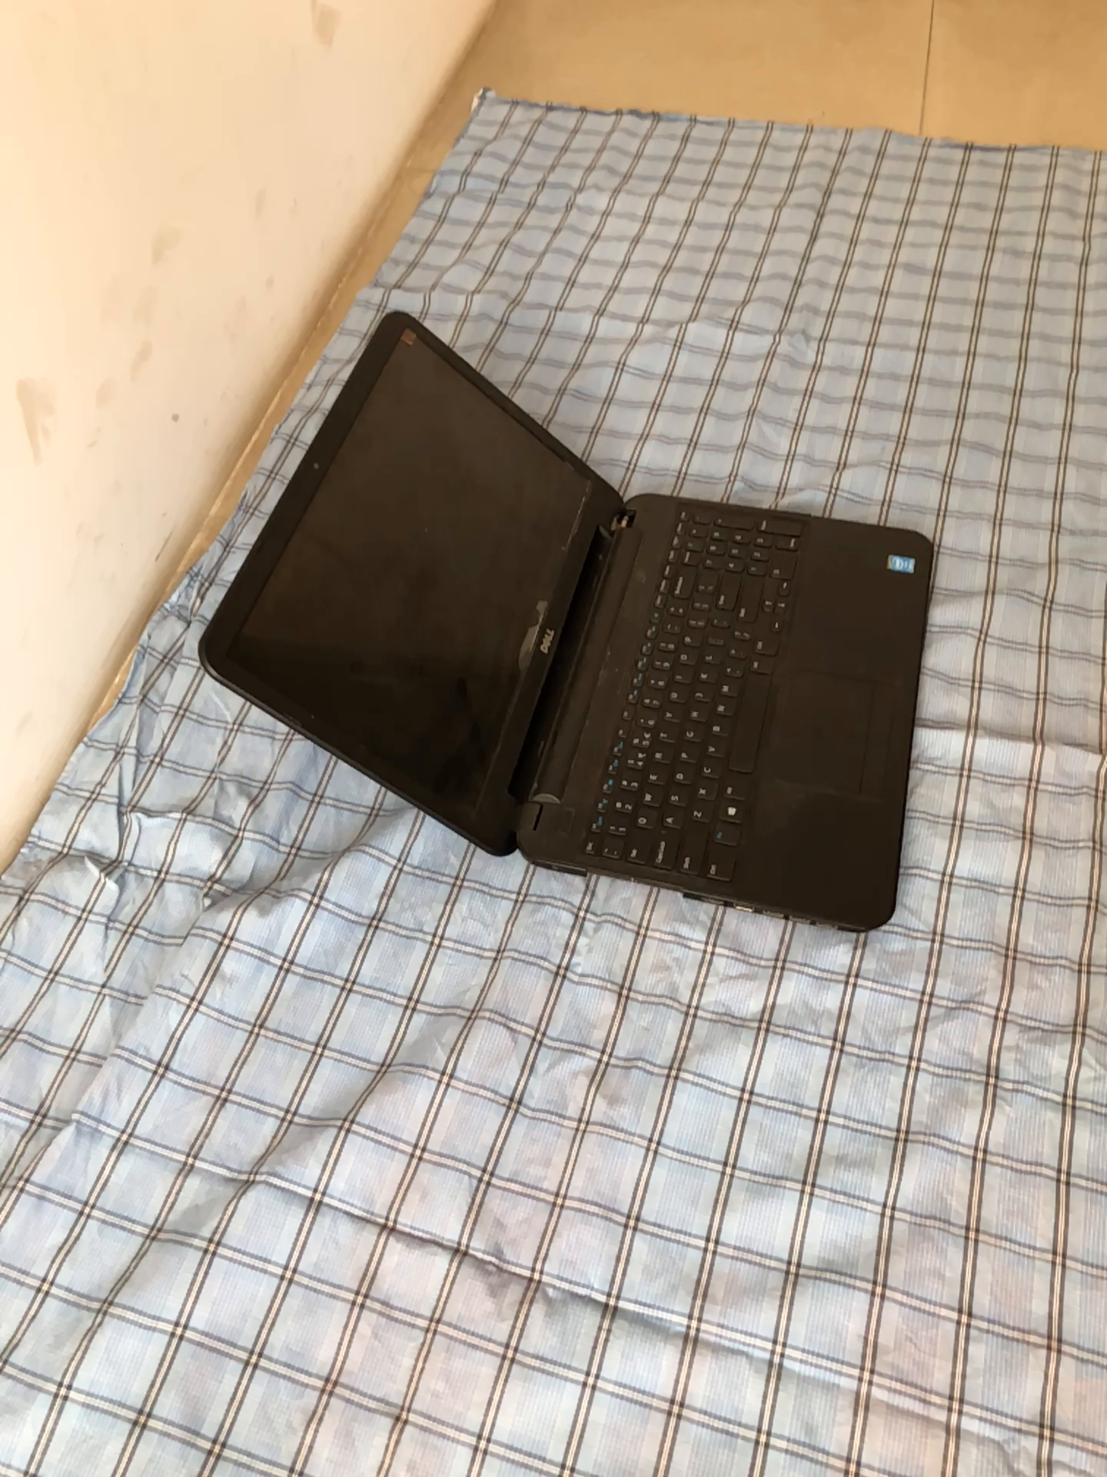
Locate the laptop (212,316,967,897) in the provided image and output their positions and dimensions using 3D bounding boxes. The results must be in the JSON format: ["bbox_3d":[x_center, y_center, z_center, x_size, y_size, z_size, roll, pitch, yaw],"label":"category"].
[{"bbox_3d":[0.047,-0.113,0.849,0.413,0.163,0.357,8,53,14],"label":"laptop"}]
